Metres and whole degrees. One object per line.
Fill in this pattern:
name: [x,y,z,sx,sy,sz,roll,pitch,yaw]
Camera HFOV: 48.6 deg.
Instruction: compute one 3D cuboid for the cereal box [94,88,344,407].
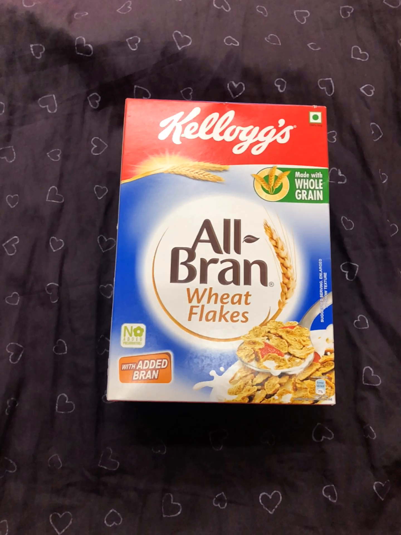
cereal box: [0.017,-0.018,0.396,0.190,0.070,0.260,2,79,-2]
